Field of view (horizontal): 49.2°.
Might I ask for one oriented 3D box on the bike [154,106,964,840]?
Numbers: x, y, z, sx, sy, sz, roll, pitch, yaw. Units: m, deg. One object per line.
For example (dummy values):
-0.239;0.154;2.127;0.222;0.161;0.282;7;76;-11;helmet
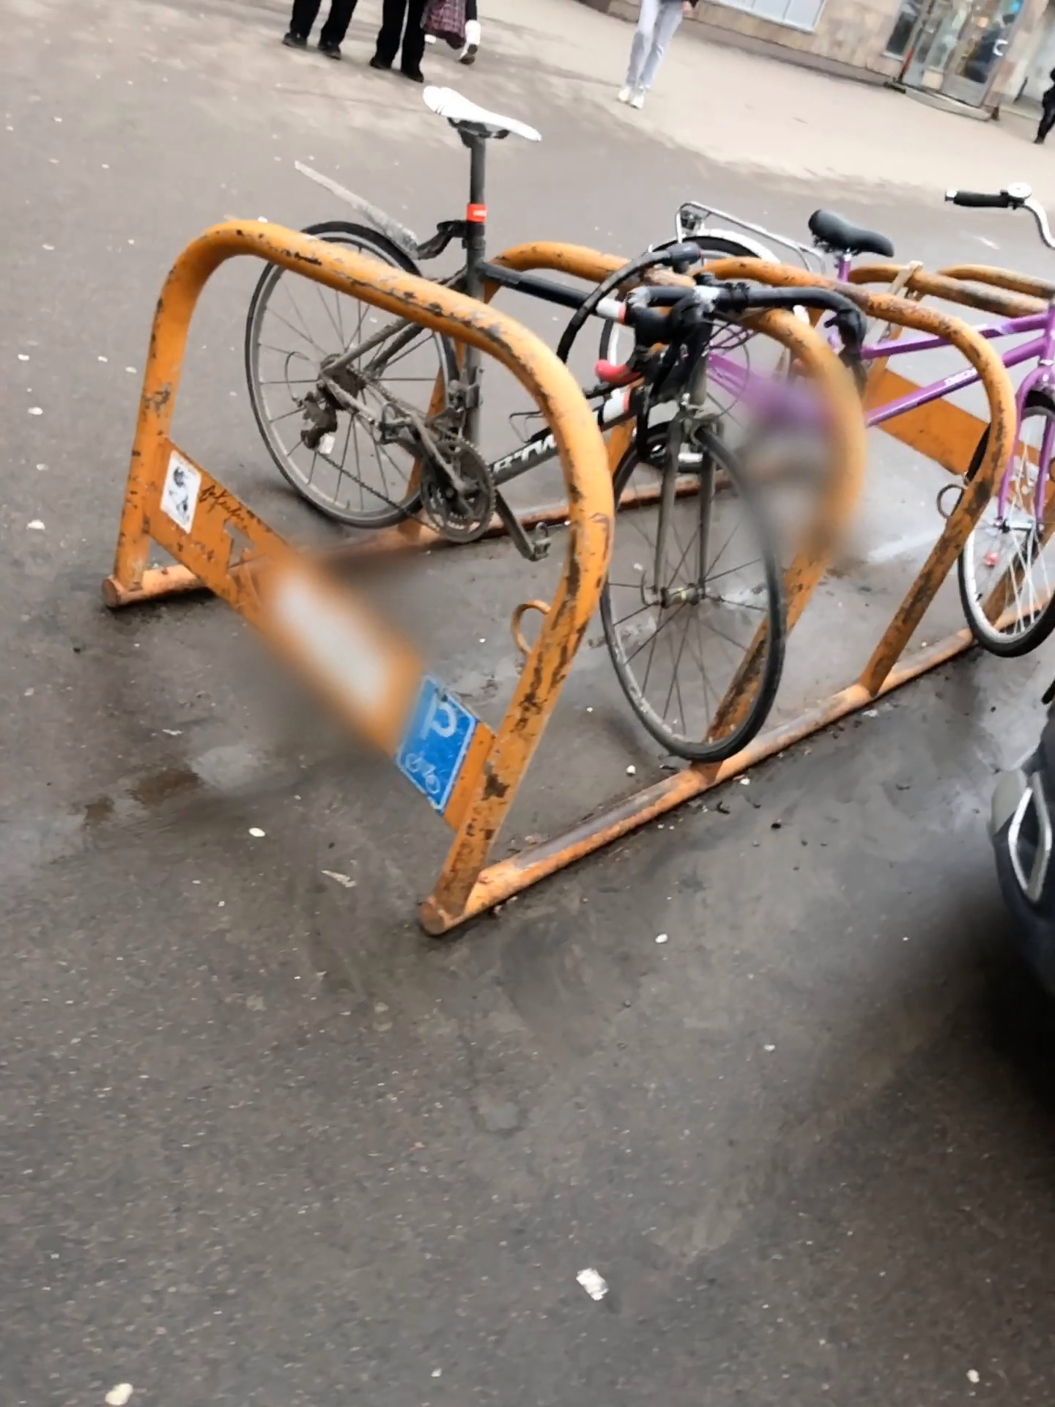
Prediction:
-0.083;-0.539;2.276;0.491;0.761;1.519;-18;46;-44;bike
